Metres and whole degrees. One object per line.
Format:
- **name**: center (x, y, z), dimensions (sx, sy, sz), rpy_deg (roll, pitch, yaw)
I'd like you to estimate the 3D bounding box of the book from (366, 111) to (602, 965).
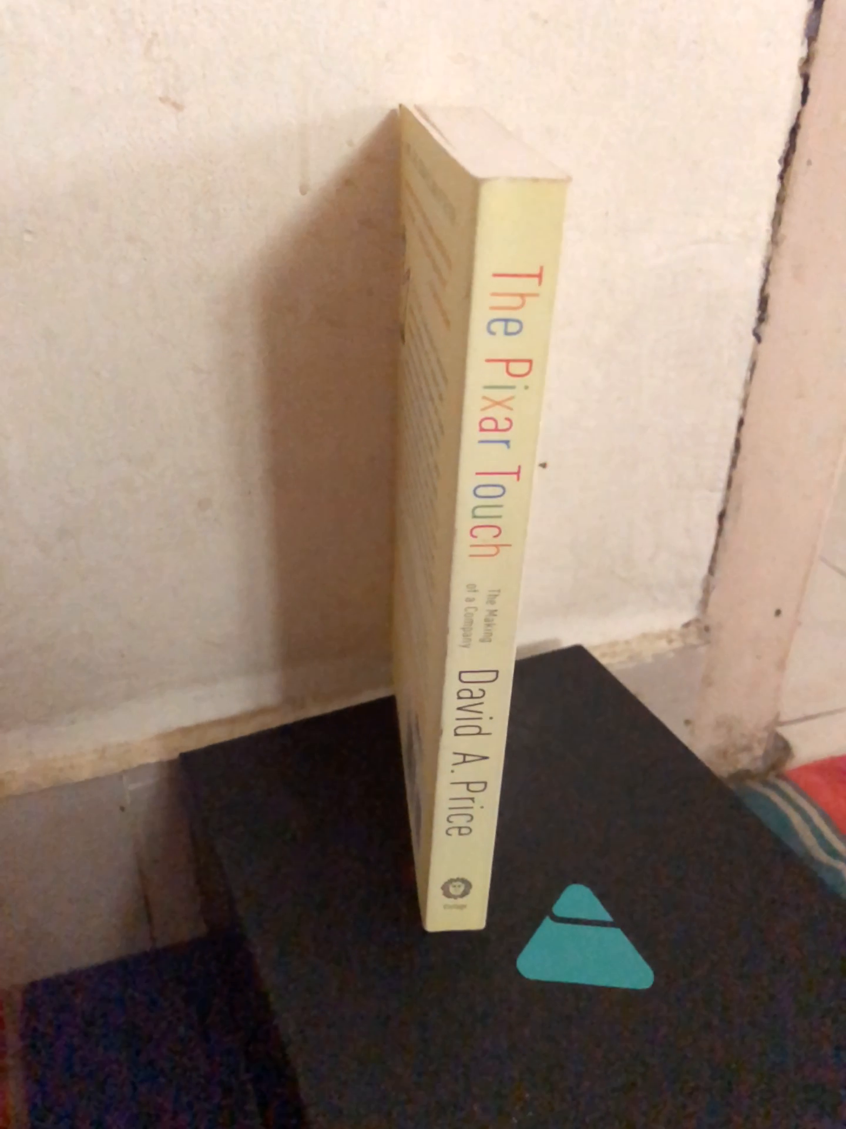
- **book**: center (0.004, -0.013, 0.271), dimensions (0.030, 0.199, 0.141), rpy_deg (0, 29, -6)
